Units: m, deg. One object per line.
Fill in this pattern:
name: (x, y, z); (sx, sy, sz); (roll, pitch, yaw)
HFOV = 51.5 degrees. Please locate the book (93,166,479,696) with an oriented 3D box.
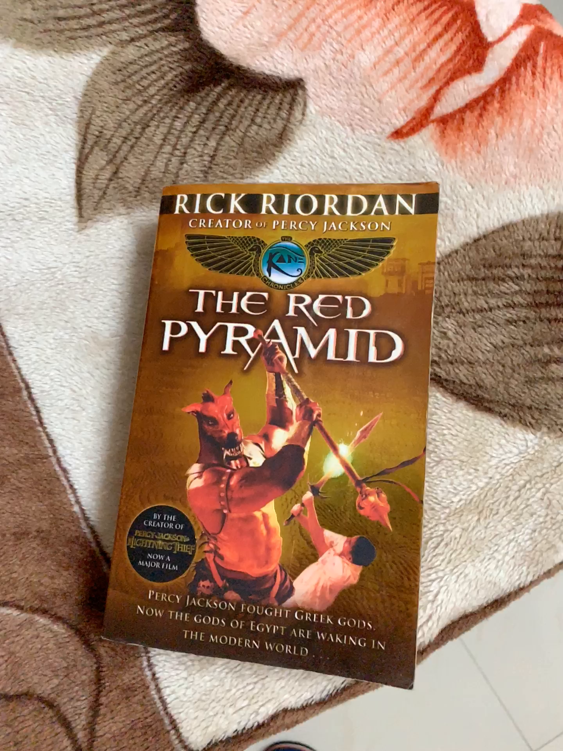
book: (0.008, 0.014, 0.274); (0.150, 0.040, 0.220); (4, 79, 8)
